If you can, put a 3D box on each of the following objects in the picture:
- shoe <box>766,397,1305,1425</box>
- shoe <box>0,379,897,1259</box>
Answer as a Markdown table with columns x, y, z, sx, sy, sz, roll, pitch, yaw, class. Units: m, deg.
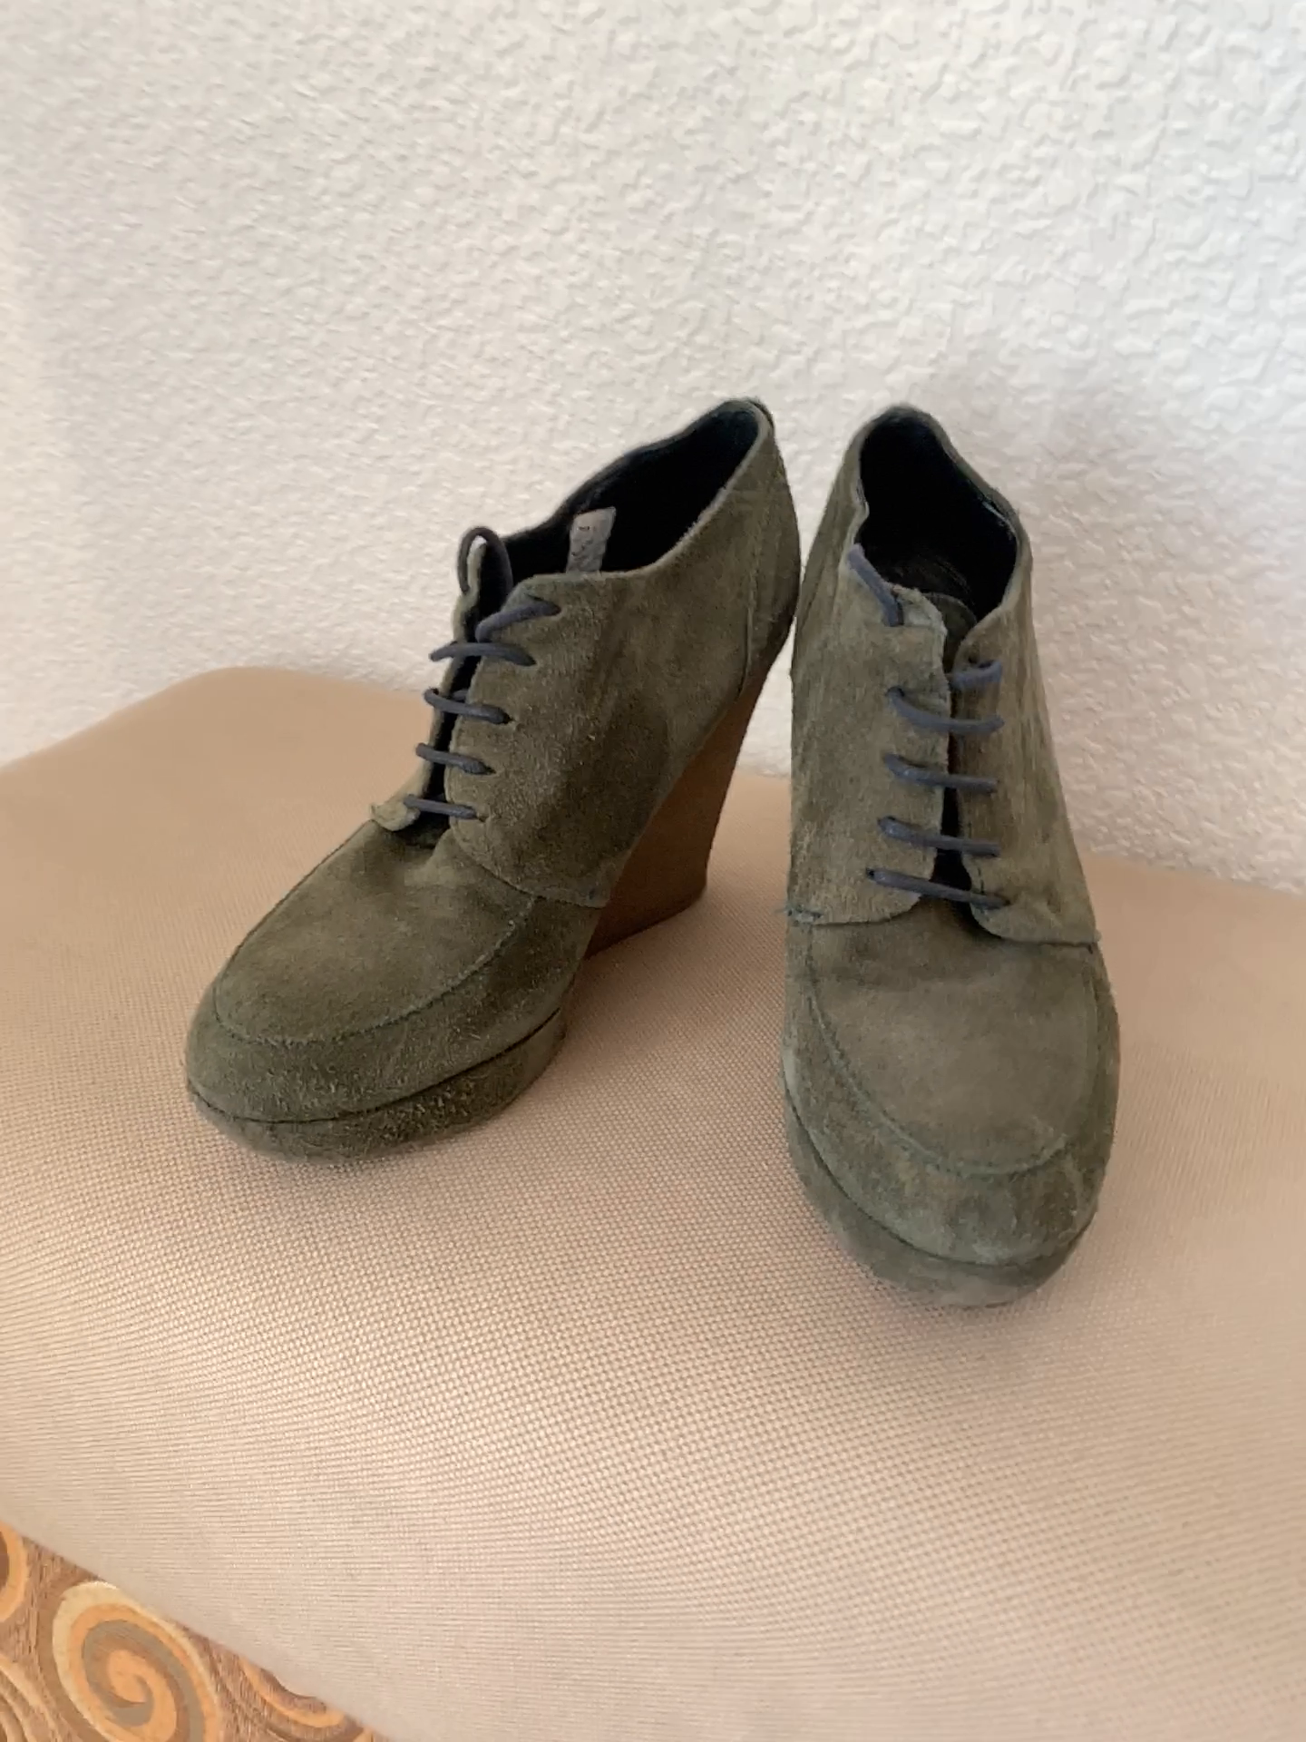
| x | y | z | sx | sy | sz | roll | pitch | yaw | class |
| --- | --- | --- | --- | --- | --- | --- | --- | --- | --- |
| 0.077 | -0.018 | 0.363 | 0.080 | 0.139 | 0.271 | 3 | 35 | 5 | shoe |
| -0.037 | -0.033 | 0.368 | 0.087 | 0.136 | 0.230 | 25 | 42 | 32 | shoe |
